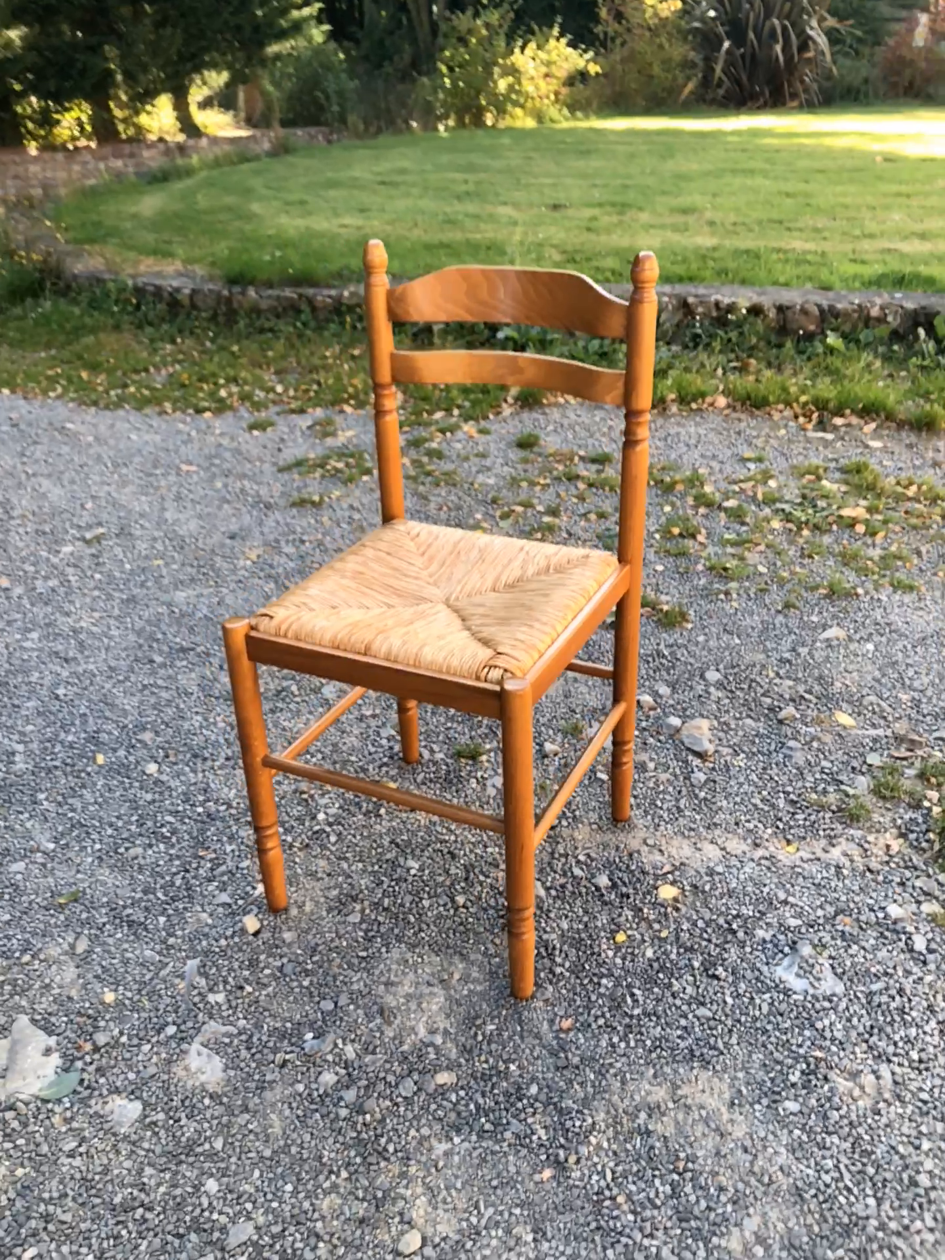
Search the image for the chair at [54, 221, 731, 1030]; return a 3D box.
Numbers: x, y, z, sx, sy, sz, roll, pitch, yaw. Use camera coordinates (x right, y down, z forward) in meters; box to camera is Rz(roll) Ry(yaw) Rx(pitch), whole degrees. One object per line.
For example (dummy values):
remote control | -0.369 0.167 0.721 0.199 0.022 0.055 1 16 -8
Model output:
chair | -0.038 -0.048 1.258 0.510 0.735 0.524 12 34 22
